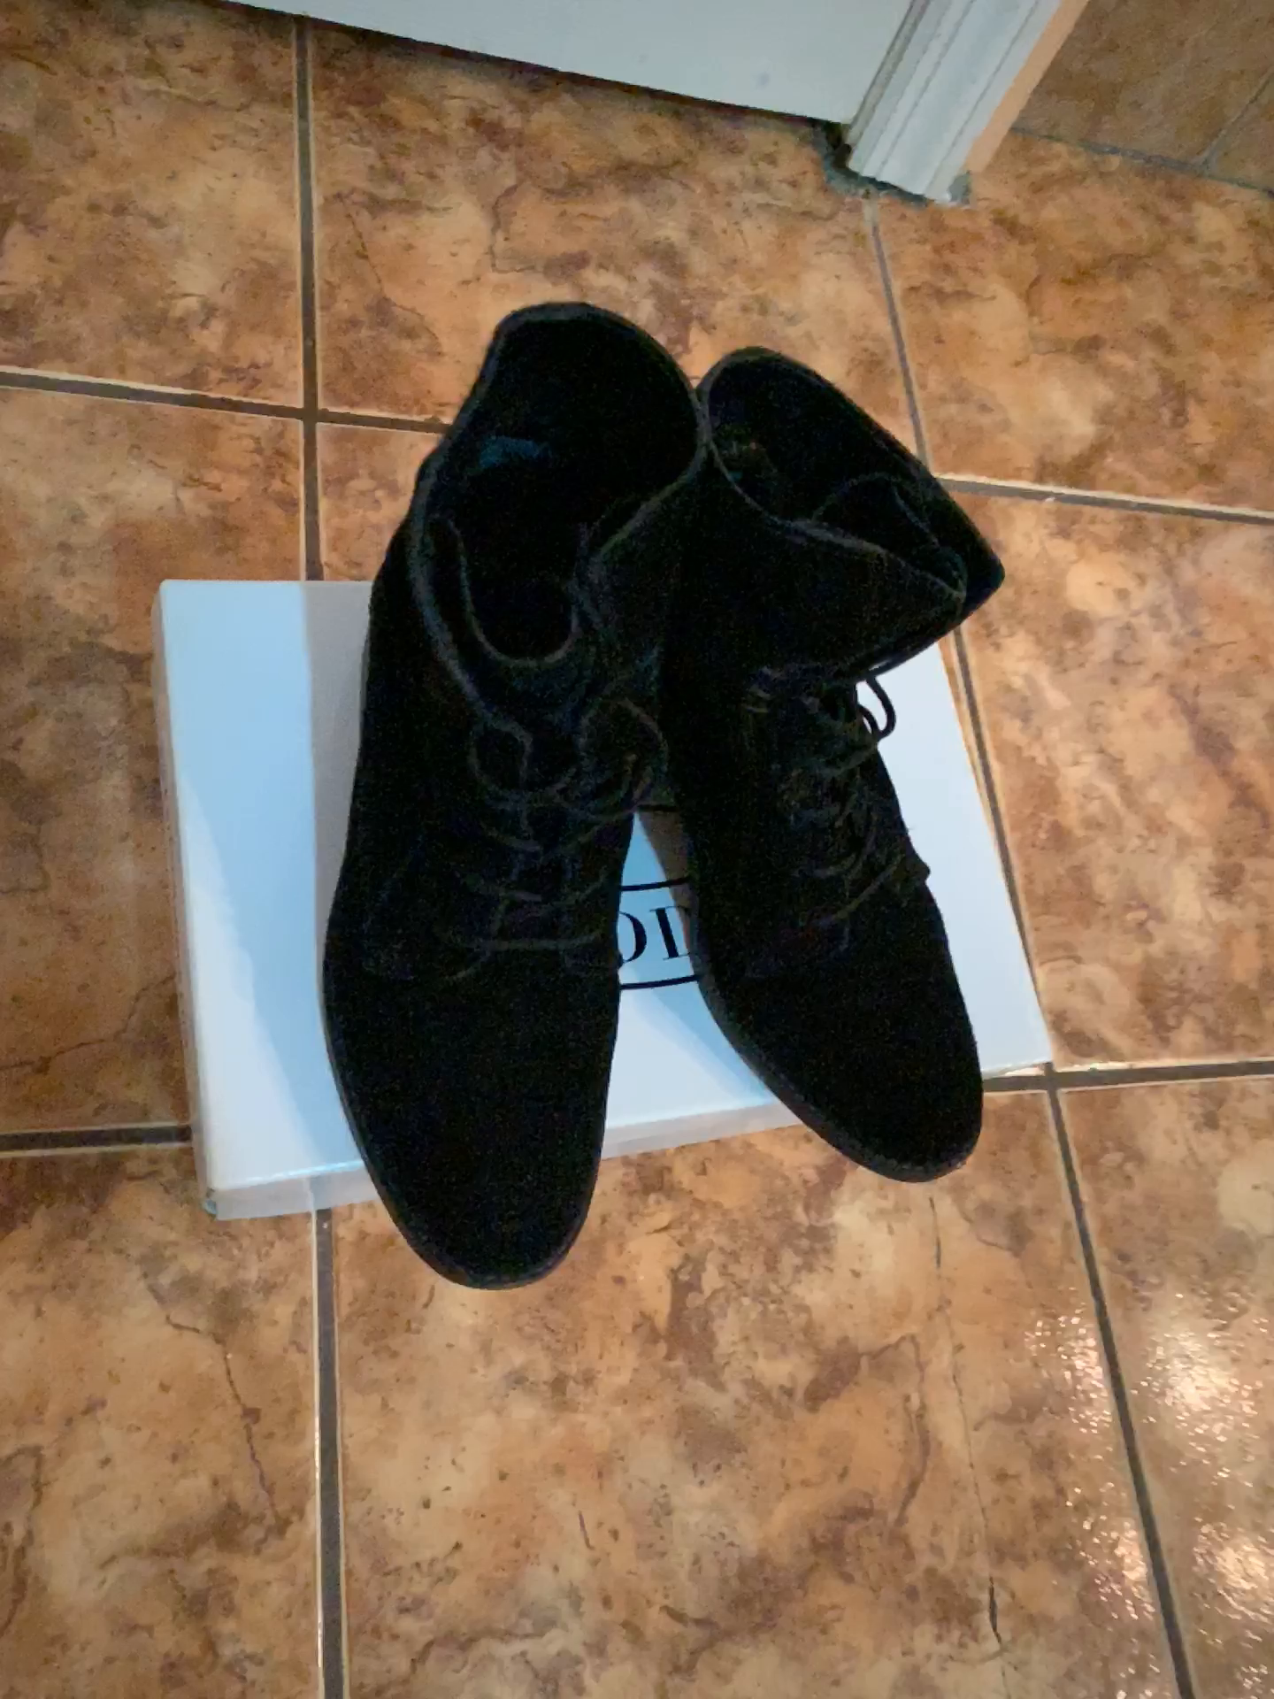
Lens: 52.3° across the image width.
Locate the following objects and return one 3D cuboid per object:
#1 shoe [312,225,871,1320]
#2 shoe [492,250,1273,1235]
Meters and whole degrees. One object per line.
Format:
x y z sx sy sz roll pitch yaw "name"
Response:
-0.034 -0.012 0.369 0.094 0.152 0.257 0 68 -19 "shoe"
0.065 -0.032 0.422 0.107 0.142 0.267 -18 74 -24 "shoe"
